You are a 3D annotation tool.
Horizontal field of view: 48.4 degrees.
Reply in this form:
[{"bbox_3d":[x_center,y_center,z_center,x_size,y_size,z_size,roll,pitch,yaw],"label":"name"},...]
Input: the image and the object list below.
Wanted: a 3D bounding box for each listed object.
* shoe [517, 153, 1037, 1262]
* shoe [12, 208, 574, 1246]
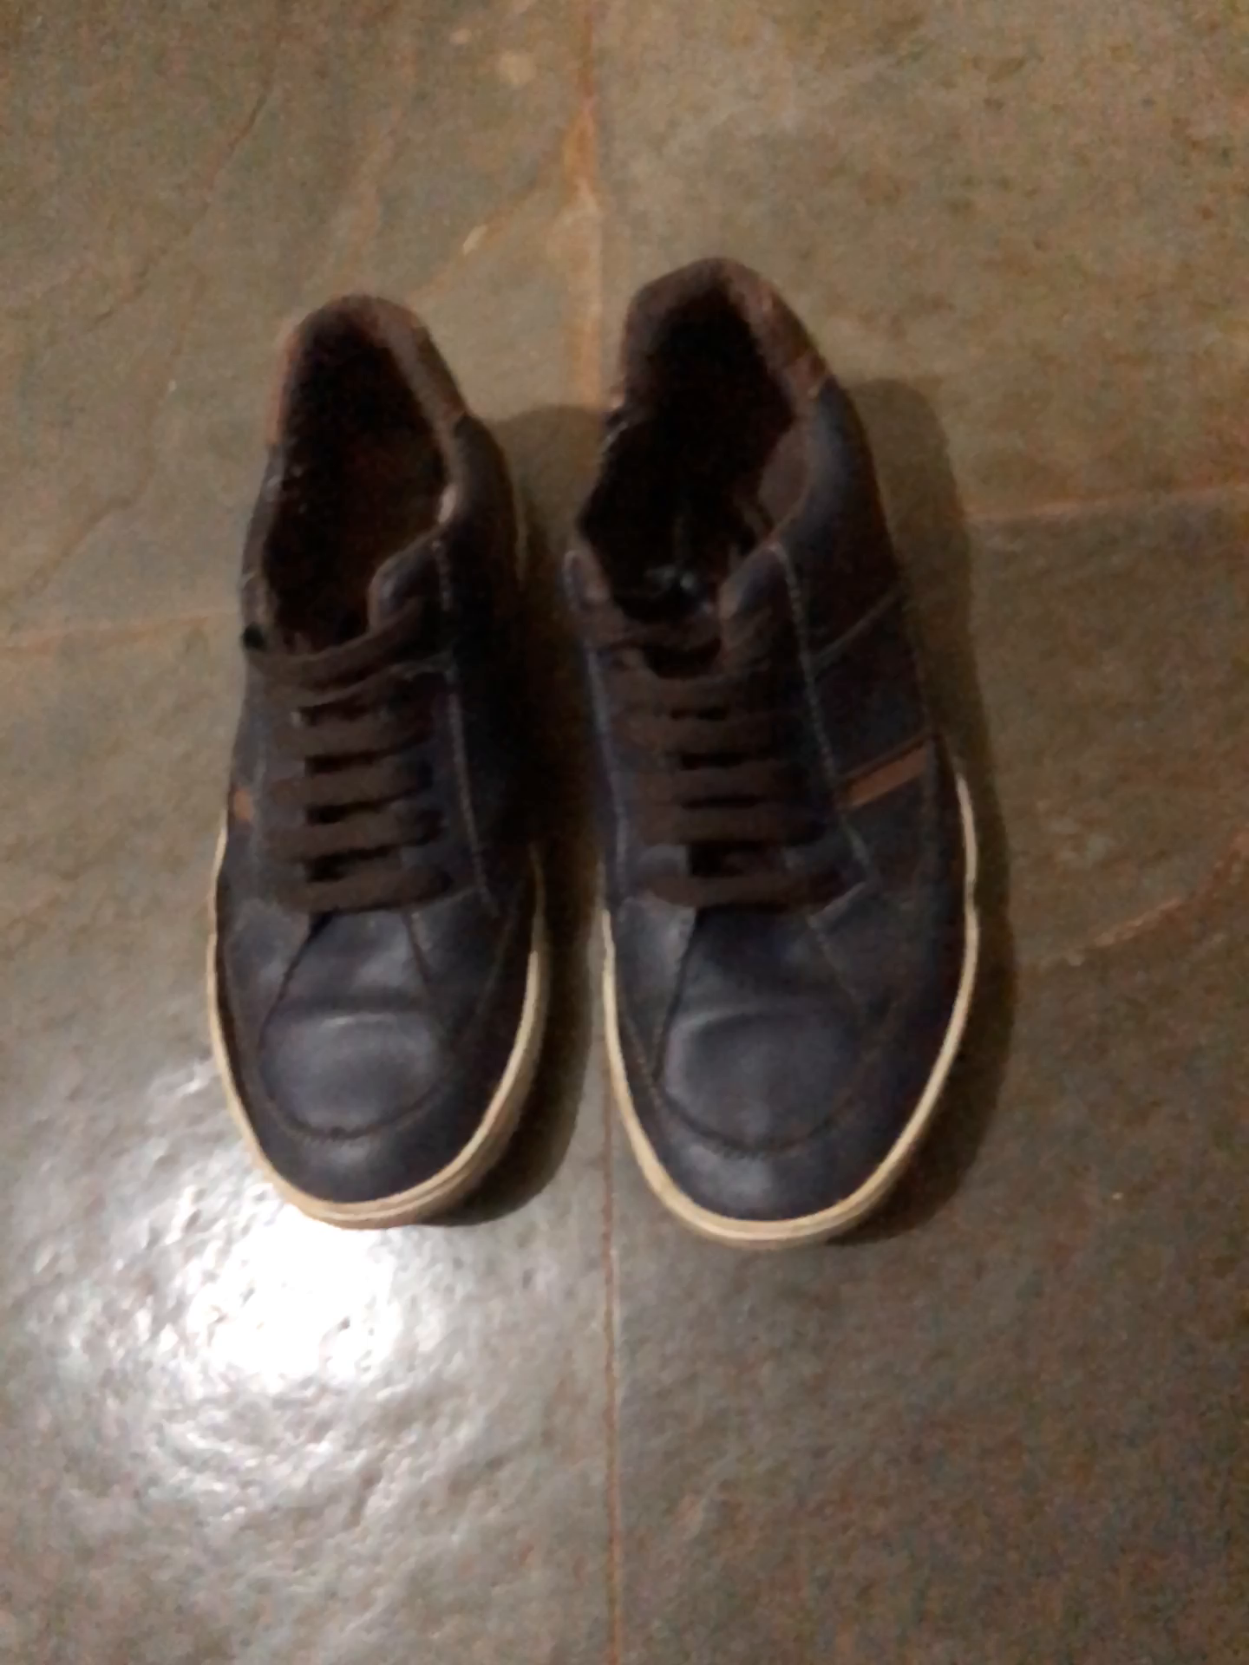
[{"bbox_3d":[0.039,-0.031,0.401,0.110,0.100,0.291,-6,73,10],"label":"shoe"},{"bbox_3d":[-0.086,-0.027,0.424,0.120,0.100,0.291,-4,73,10],"label":"shoe"}]
